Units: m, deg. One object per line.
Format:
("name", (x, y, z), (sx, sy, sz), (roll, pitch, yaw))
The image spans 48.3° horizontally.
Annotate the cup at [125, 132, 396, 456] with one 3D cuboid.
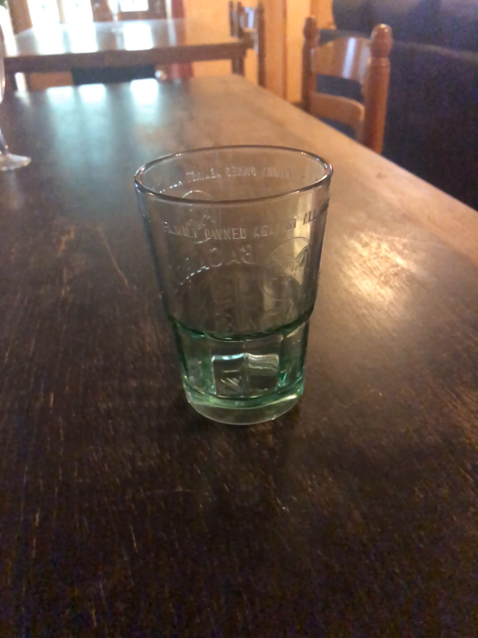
("cup", (0.005, -0.018, 0.240), (0.083, 0.103, 0.089), (-3, 31, 2))
